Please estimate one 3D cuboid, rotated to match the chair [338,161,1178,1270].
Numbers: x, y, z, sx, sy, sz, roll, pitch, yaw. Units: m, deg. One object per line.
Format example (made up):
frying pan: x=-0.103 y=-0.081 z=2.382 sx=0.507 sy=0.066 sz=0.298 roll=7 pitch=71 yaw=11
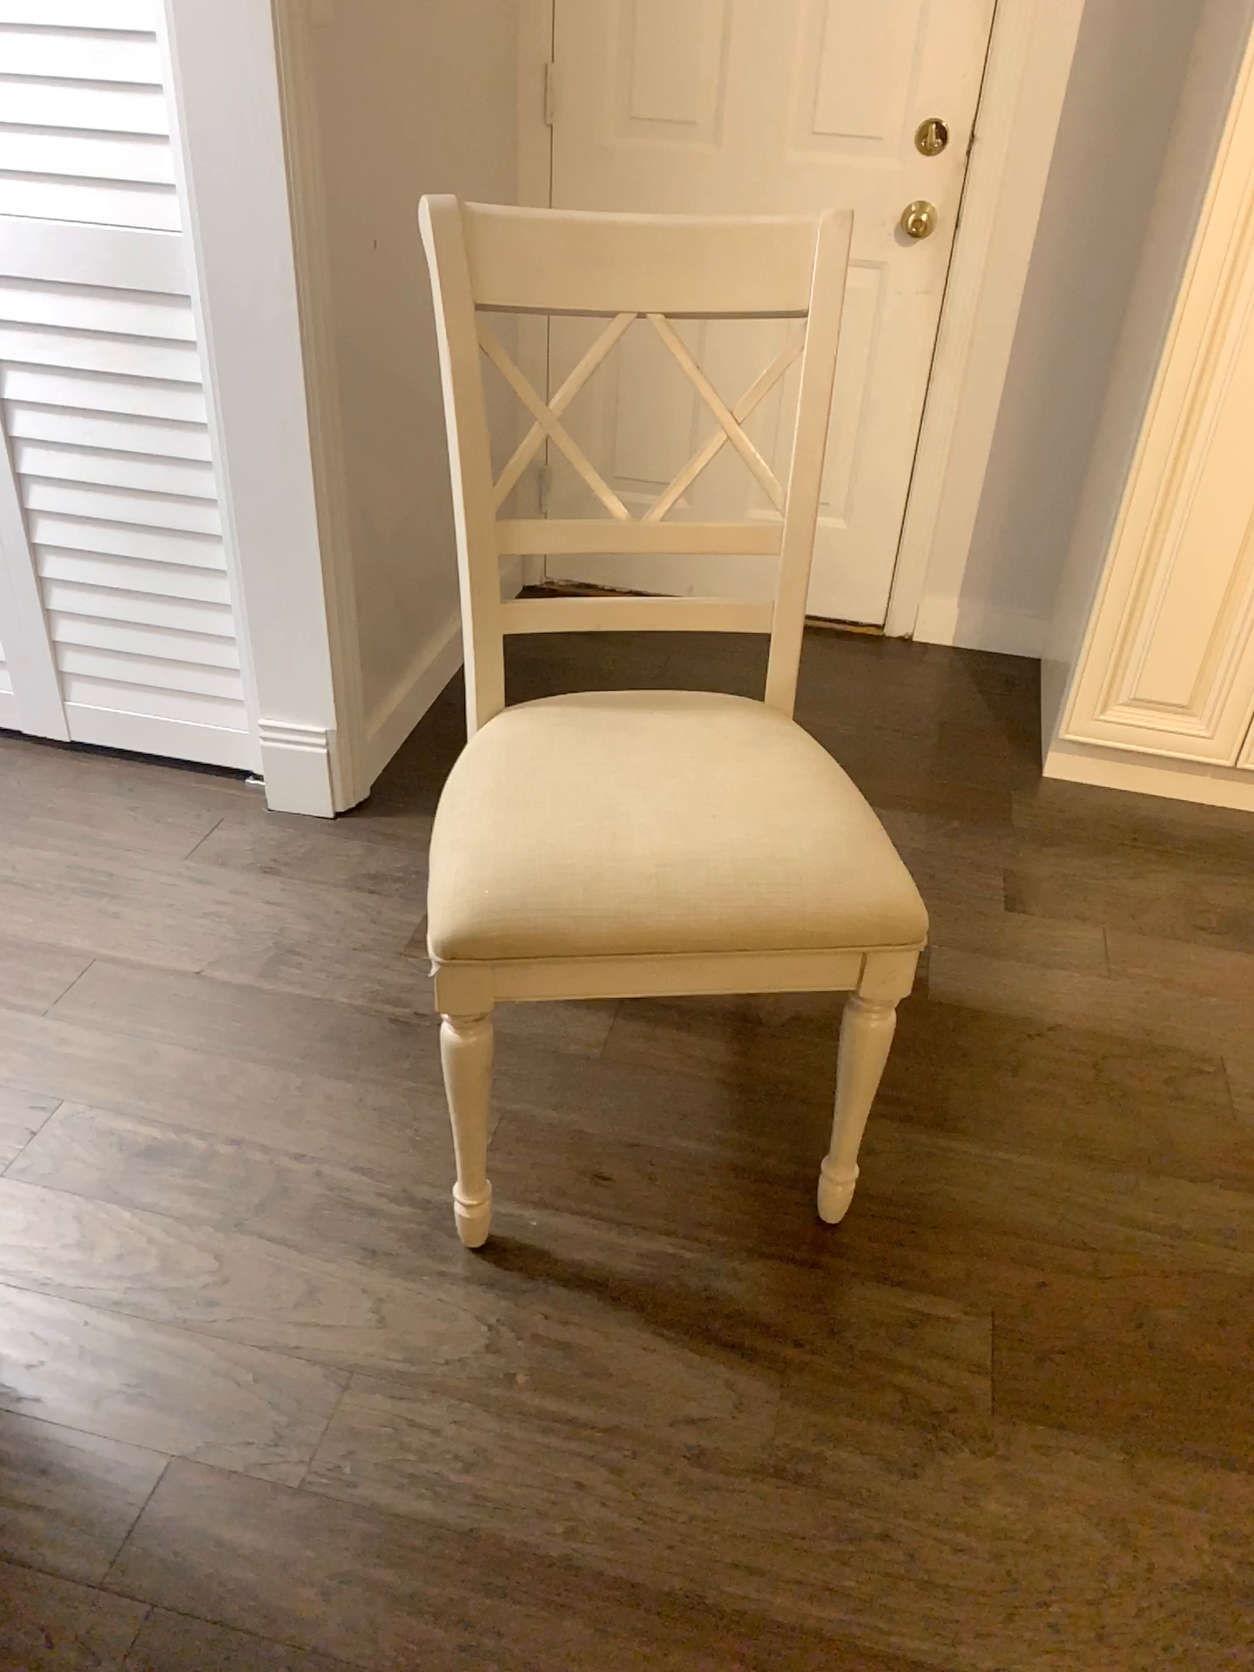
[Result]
chair: x=0.040 y=-0.127 z=1.387 sx=0.580 sy=0.994 sz=0.614 roll=-2 pitch=34 yaw=-7
